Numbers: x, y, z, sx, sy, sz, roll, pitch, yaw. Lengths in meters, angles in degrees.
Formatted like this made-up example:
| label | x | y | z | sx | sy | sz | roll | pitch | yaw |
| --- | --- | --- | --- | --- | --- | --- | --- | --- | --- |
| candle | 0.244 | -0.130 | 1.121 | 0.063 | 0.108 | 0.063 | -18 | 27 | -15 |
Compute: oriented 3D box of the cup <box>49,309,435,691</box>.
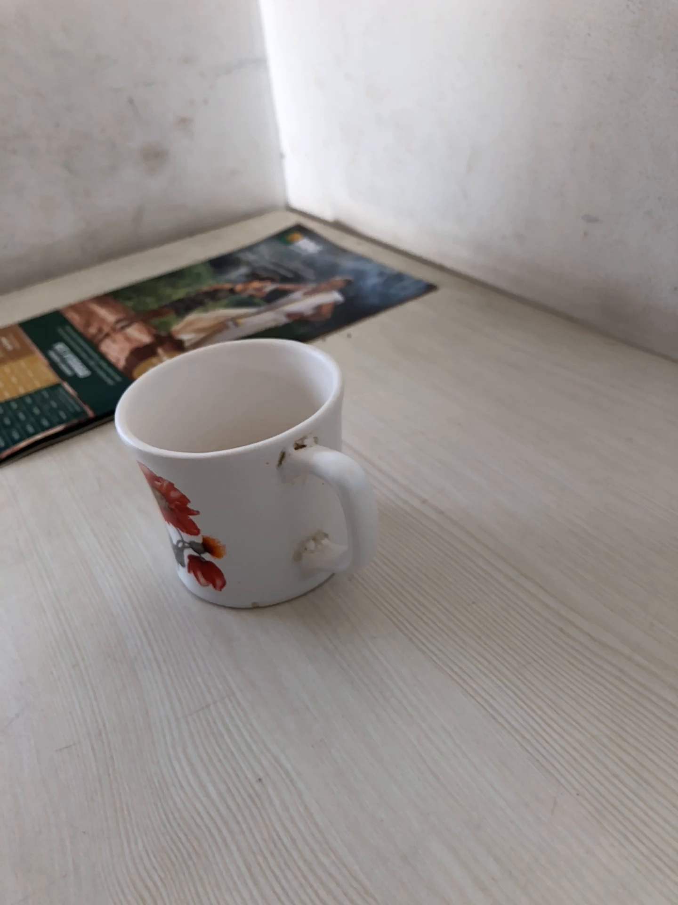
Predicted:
| label | x | y | z | sx | sy | sz | roll | pitch | yaw |
| --- | --- | --- | --- | --- | --- | --- | --- | --- | --- |
| cup | -0.028 | 0.008 | 0.243 | 0.090 | 0.070 | 0.070 | 22 | 44 | 37 |
